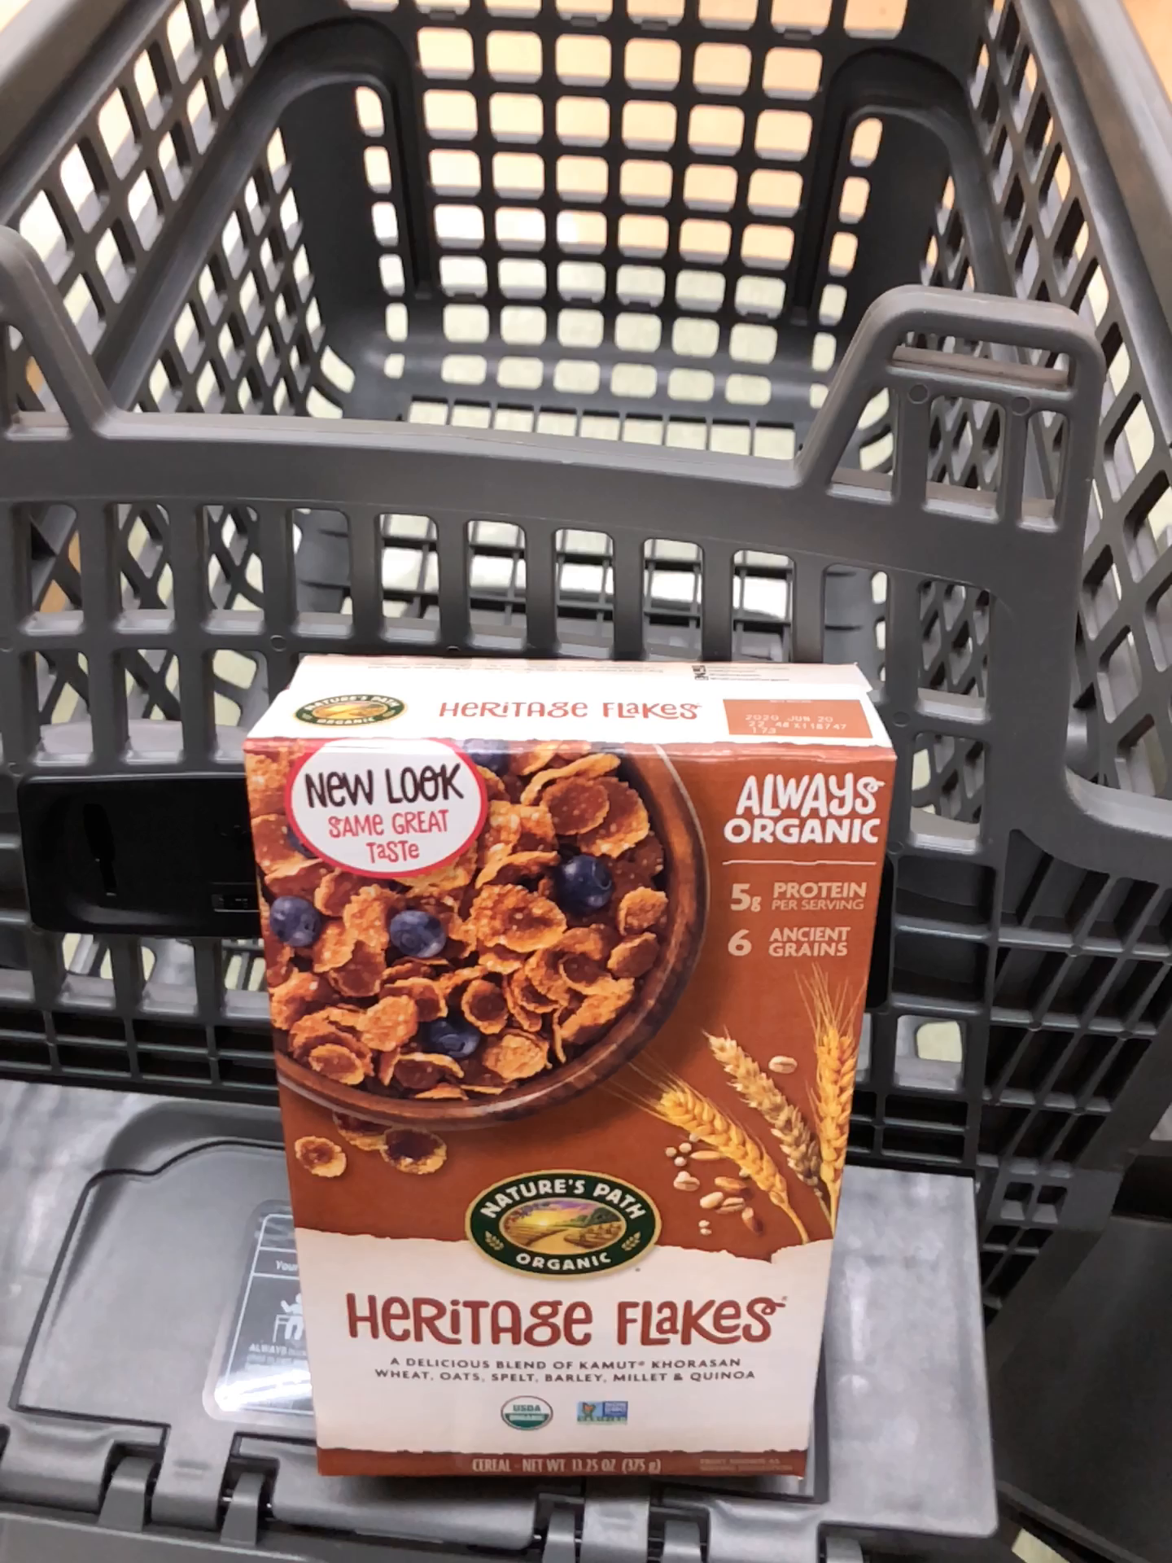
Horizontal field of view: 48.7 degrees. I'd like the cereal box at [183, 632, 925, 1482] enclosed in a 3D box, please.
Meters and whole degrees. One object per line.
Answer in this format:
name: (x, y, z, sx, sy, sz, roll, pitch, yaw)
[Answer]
cereal box: (-0.008, 0.086, 0.374, 0.170, 0.250, 0.060, 0, 23, 0)
